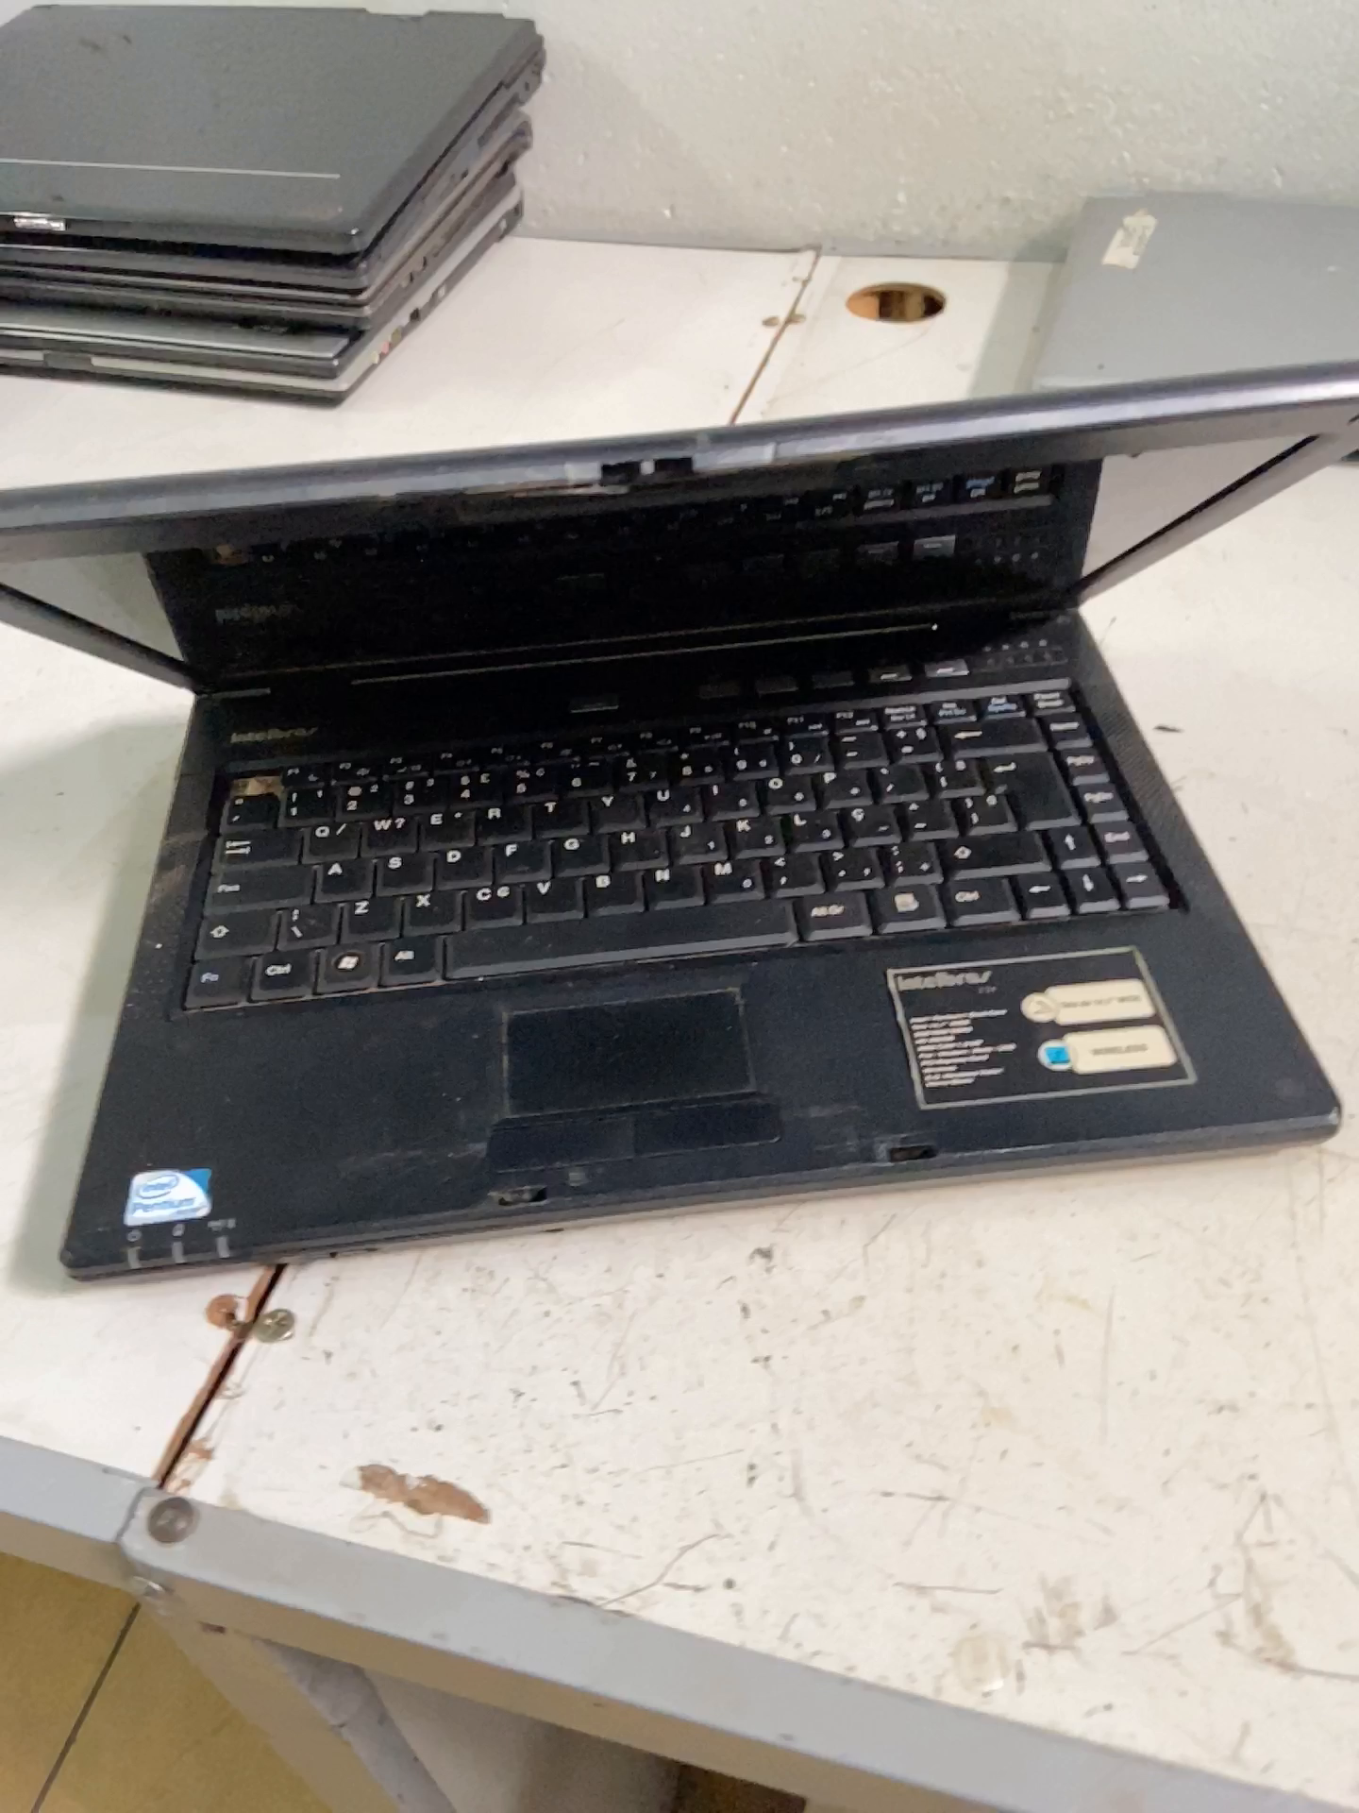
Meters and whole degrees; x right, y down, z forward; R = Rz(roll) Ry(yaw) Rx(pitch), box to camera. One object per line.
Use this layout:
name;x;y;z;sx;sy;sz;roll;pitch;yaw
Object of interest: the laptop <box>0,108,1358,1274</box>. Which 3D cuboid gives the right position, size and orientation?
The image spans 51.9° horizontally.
laptop;-0.005;-0.071;0.376;0.324;0.168;0.236;-6;45;-3
